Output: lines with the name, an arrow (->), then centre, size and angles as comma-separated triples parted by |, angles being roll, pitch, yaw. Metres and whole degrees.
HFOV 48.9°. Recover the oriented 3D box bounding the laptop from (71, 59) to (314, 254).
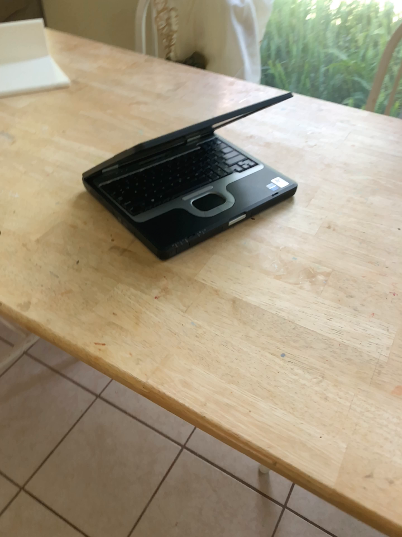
laptop -> -0.017, -0.215, 0.776 | 0.306, 0.162, 0.256 | -29, 51, -27
